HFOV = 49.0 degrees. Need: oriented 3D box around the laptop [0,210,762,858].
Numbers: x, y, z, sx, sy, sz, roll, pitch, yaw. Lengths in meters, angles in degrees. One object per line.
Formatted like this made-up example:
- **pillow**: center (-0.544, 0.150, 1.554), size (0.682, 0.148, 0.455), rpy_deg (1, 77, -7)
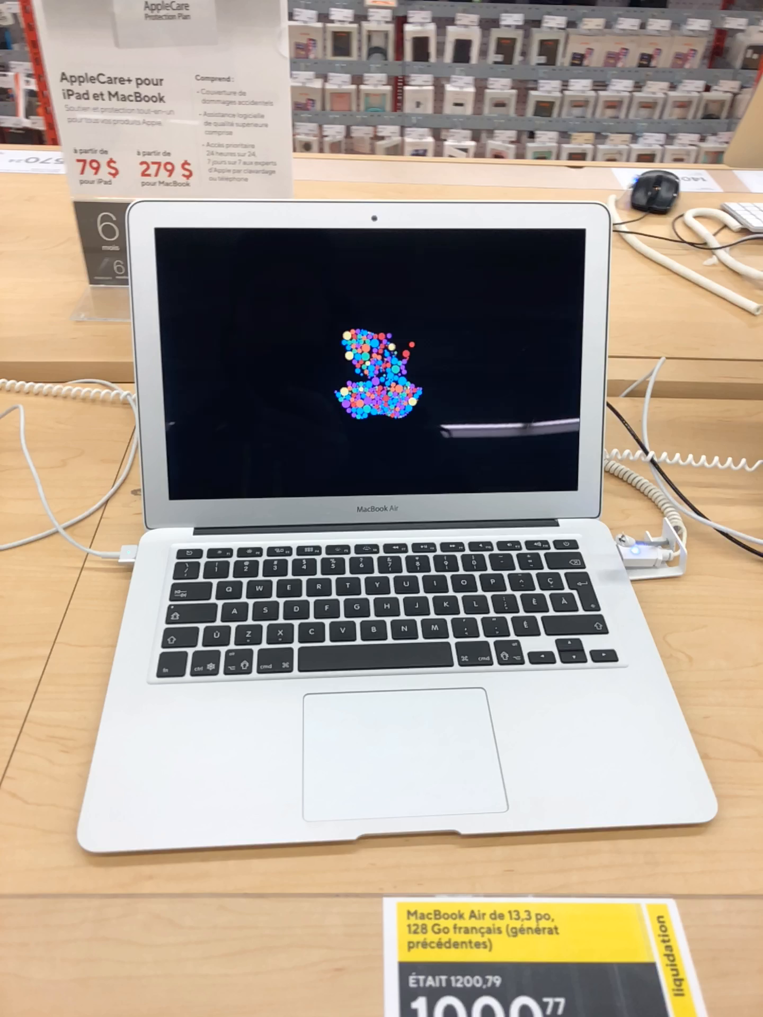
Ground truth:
- **laptop**: center (0.006, -0.017, 0.469), size (0.305, 0.186, 0.326), rpy_deg (-1, 39, -6)
